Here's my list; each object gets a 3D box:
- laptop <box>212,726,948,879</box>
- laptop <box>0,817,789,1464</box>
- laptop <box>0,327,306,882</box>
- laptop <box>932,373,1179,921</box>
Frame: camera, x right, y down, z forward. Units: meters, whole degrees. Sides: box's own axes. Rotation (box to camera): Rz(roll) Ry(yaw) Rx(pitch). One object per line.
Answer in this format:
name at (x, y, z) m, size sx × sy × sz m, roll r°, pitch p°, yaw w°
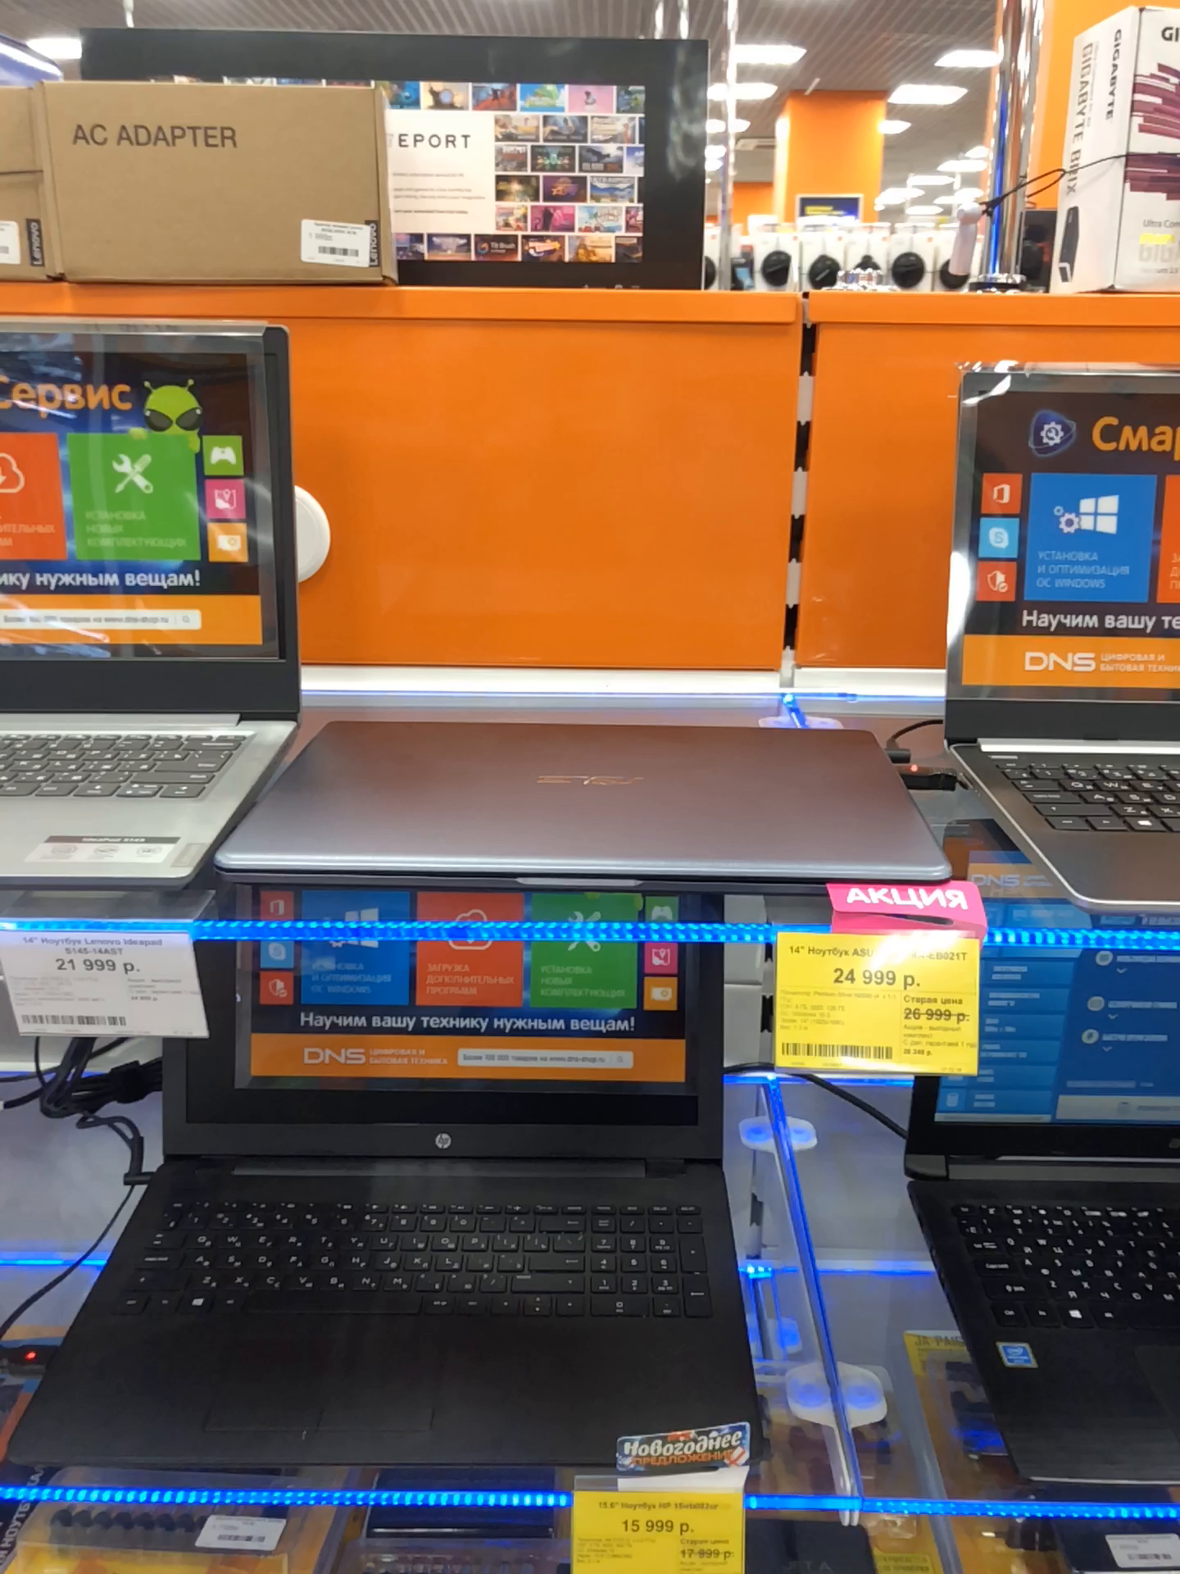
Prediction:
laptop at (-0.001, 0.002, 0.670) m, size 0.324 × 0.001 × 0.214 m, roll 1°, pitch 19°, yaw 2°
laptop at (-0.096, 0.178, 0.760) m, size 0.376 × 0.227 × 0.314 m, roll 0°, pitch 19°, yaw 1°
laptop at (-0.353, -0.114, 0.660) m, size 0.353 × 0.225 × 0.290 m, roll 0°, pitch 19°, yaw -1°
laptop at (0.382, -0.090, 0.646) m, size 0.336 × 0.205 × 0.272 m, roll 1°, pitch 19°, yaw -1°
